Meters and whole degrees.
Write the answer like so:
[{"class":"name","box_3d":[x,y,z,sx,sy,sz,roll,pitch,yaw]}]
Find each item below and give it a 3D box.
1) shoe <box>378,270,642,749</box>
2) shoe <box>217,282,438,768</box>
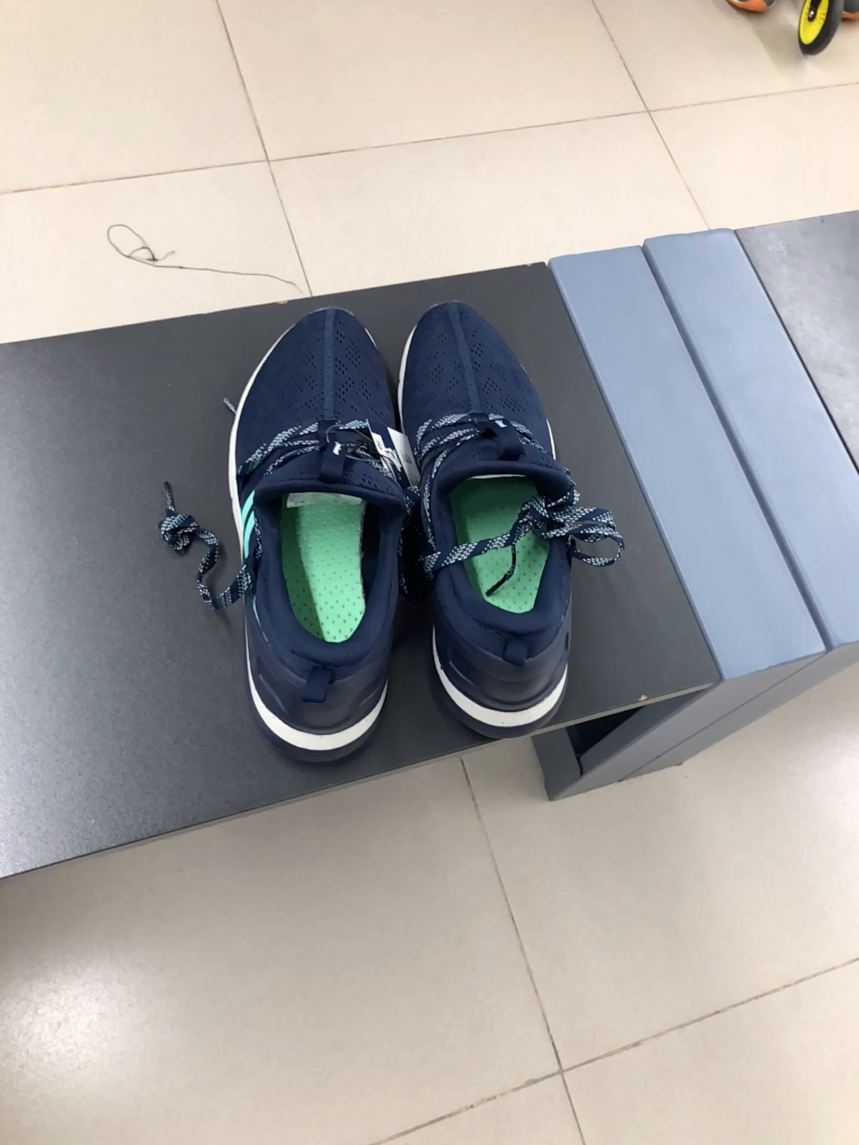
[{"class":"shoe","box_3d":[0.034,-0.037,0.556,0.100,0.120,0.251,-2,67,-9]},{"class":"shoe","box_3d":[-0.066,-0.028,0.548,0.100,0.120,0.251,-2,67,-9]}]
